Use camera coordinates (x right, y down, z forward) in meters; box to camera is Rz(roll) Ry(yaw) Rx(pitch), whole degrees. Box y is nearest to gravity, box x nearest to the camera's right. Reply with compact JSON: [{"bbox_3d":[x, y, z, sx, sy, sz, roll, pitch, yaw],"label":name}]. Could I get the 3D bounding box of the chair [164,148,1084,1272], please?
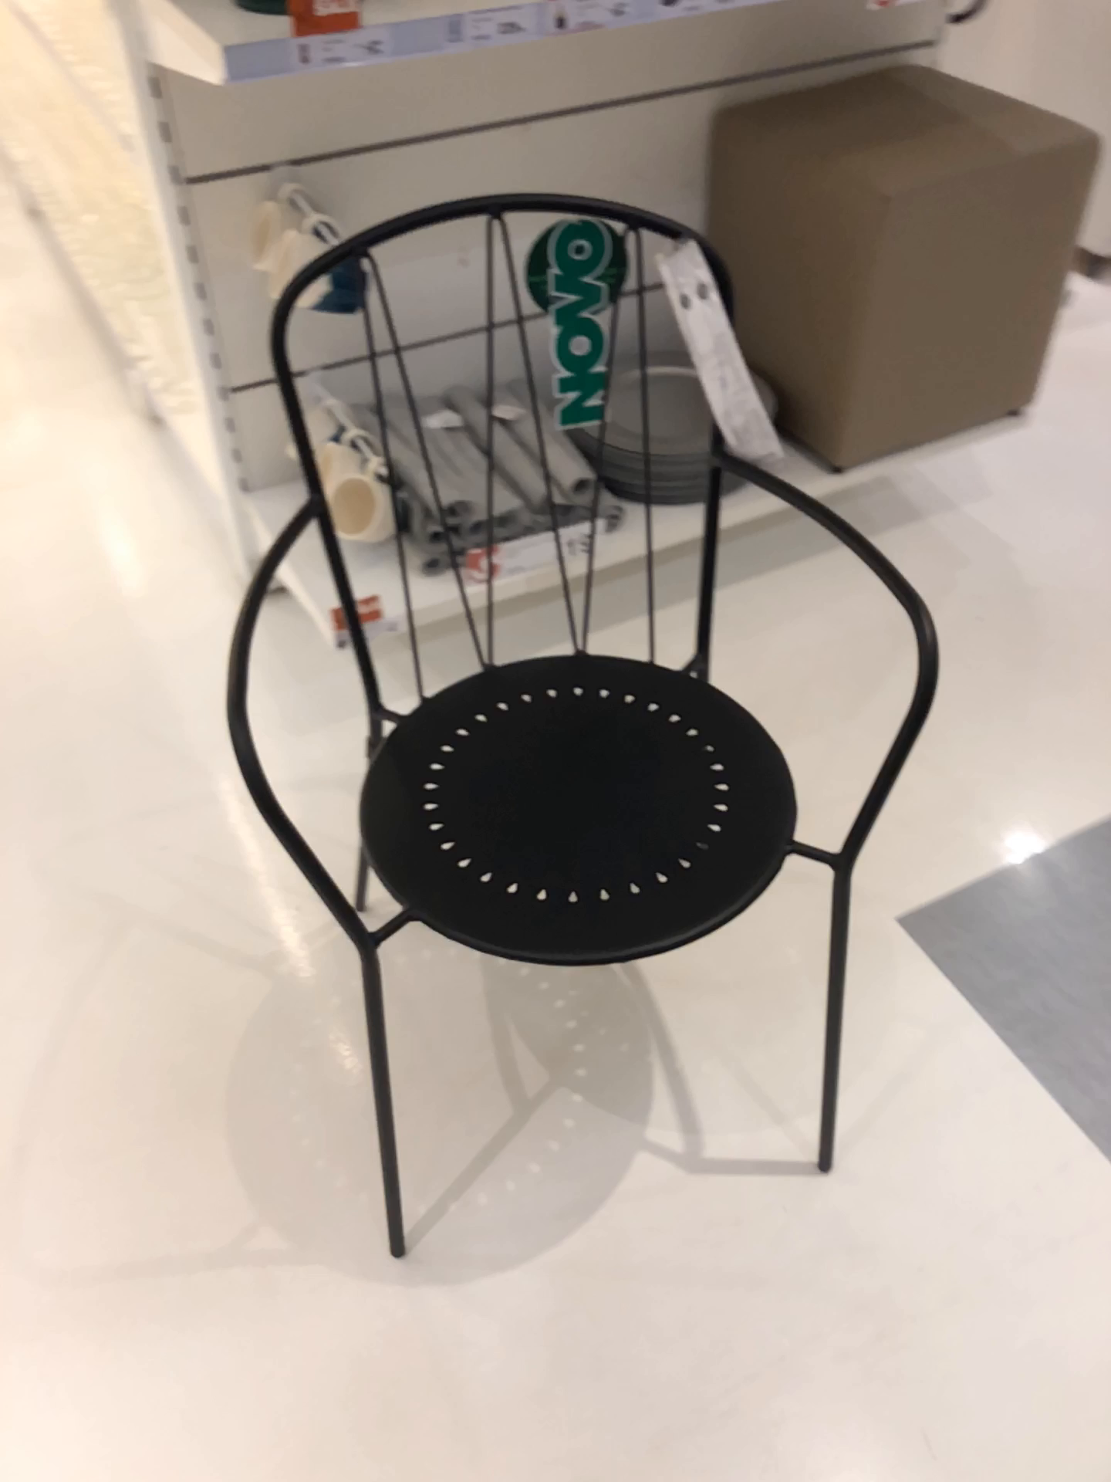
[{"bbox_3d":[0.006,-0.009,1.146,0.510,0.814,0.564,-8,44,-7],"label":"chair"}]
